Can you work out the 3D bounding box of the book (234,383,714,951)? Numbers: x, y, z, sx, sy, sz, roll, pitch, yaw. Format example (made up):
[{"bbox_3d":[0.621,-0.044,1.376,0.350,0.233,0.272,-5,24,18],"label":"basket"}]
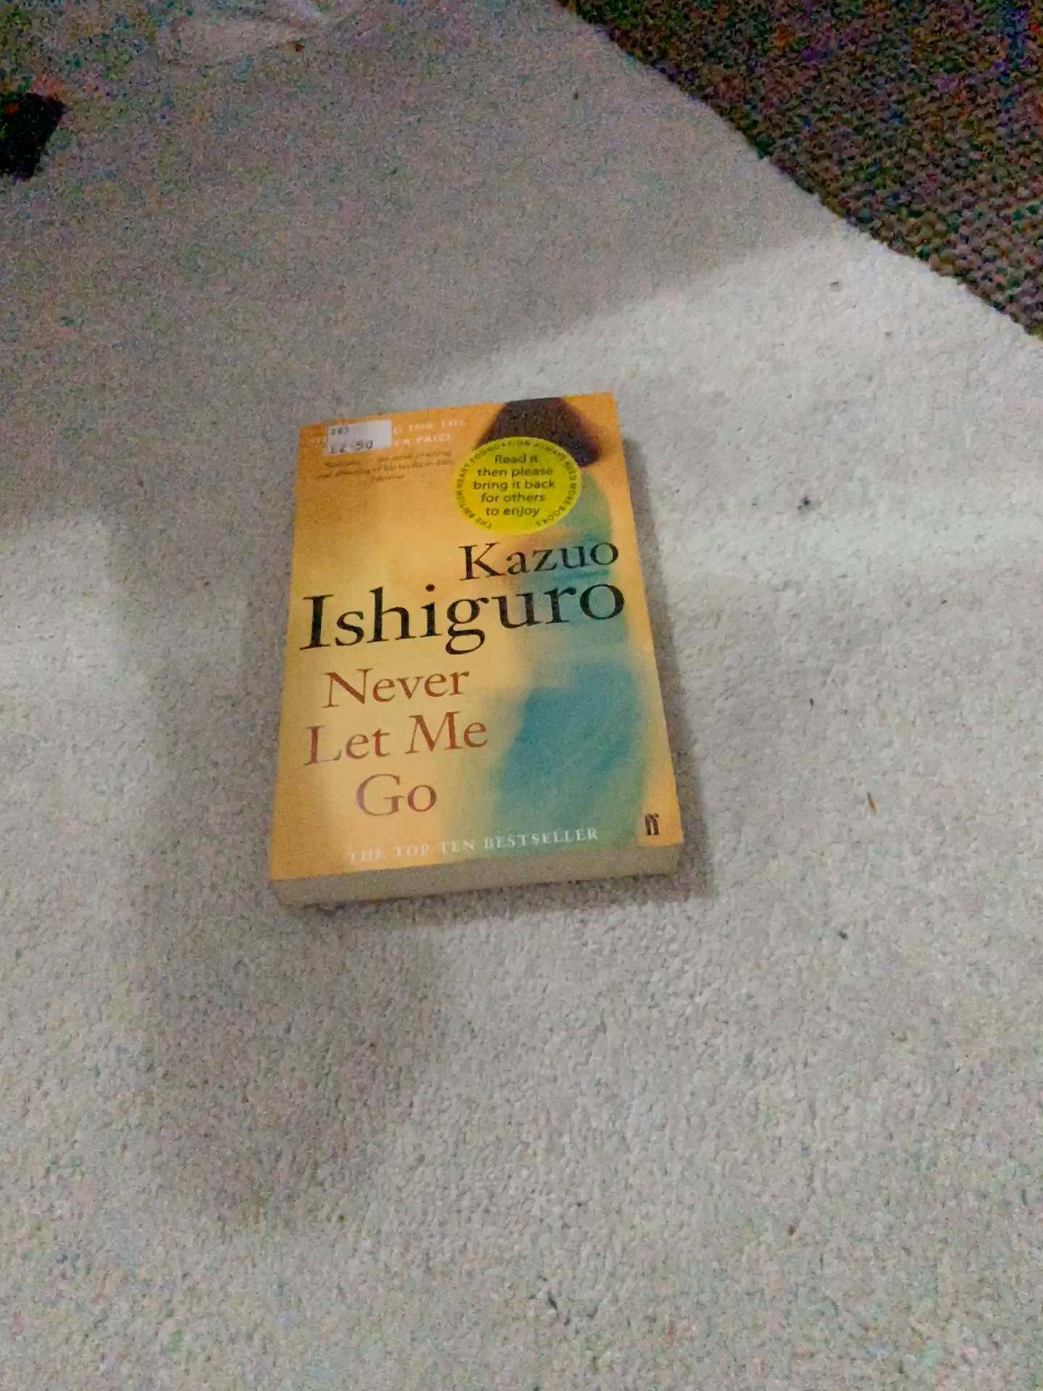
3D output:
[{"bbox_3d":[-0.020,-0.022,0.376,0.140,0.020,0.211,-6,57,2],"label":"book"}]
